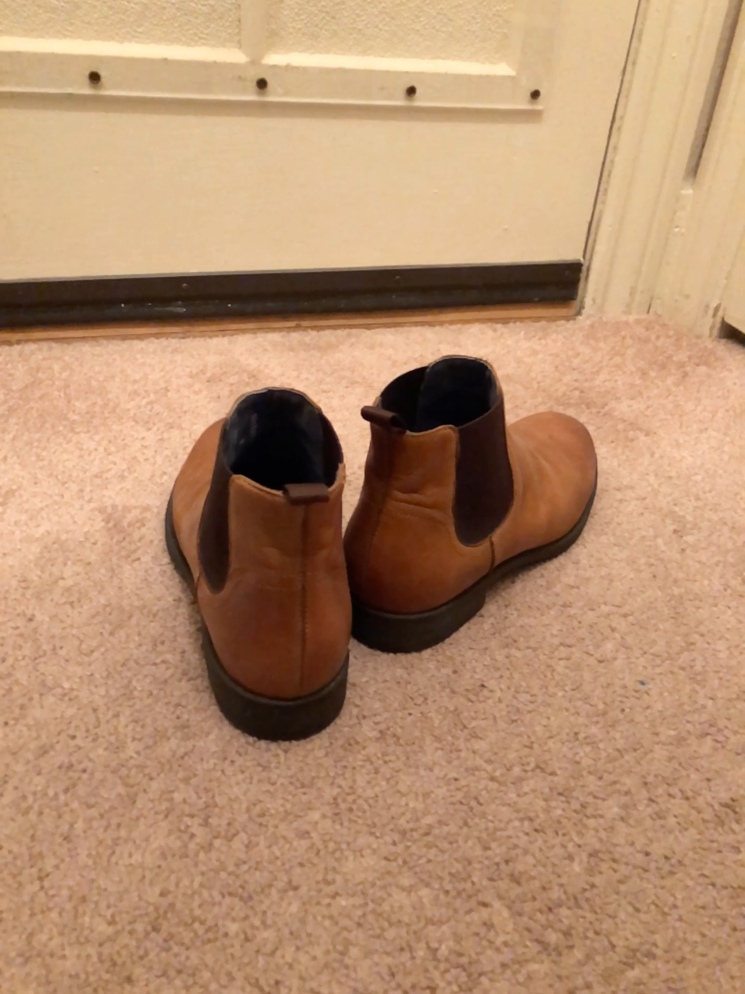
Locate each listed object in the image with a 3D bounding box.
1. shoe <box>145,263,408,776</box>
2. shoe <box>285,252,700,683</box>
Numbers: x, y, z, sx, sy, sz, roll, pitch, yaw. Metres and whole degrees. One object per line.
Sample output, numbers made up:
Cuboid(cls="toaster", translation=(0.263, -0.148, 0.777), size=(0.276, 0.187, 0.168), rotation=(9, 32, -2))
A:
Cuboid(cls="shoe", translation=(-0.080, -0.015, 0.516), size=(0.109, 0.165, 0.314), rotation=(-4, 34, -13))
Cuboid(cls="shoe", translation=(0.091, -0.043, 0.563), size=(0.109, 0.165, 0.313), rotation=(27, 39, 30))
